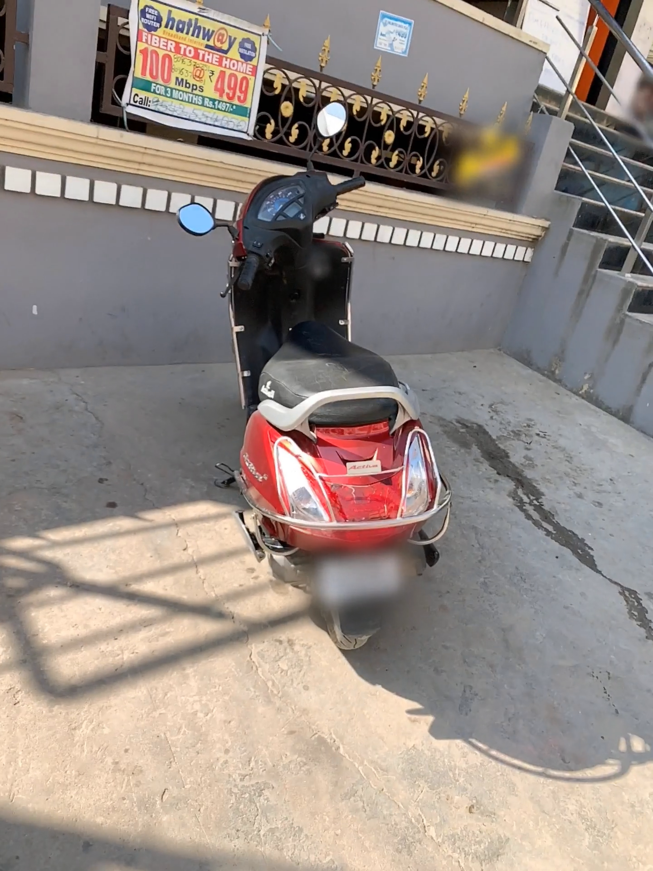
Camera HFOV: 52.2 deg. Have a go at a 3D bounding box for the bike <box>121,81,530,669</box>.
[{"bbox_3d":[-0.260,-0.376,2.222,0.623,1.164,1.760,5,28,-22],"label":"bike"}]
